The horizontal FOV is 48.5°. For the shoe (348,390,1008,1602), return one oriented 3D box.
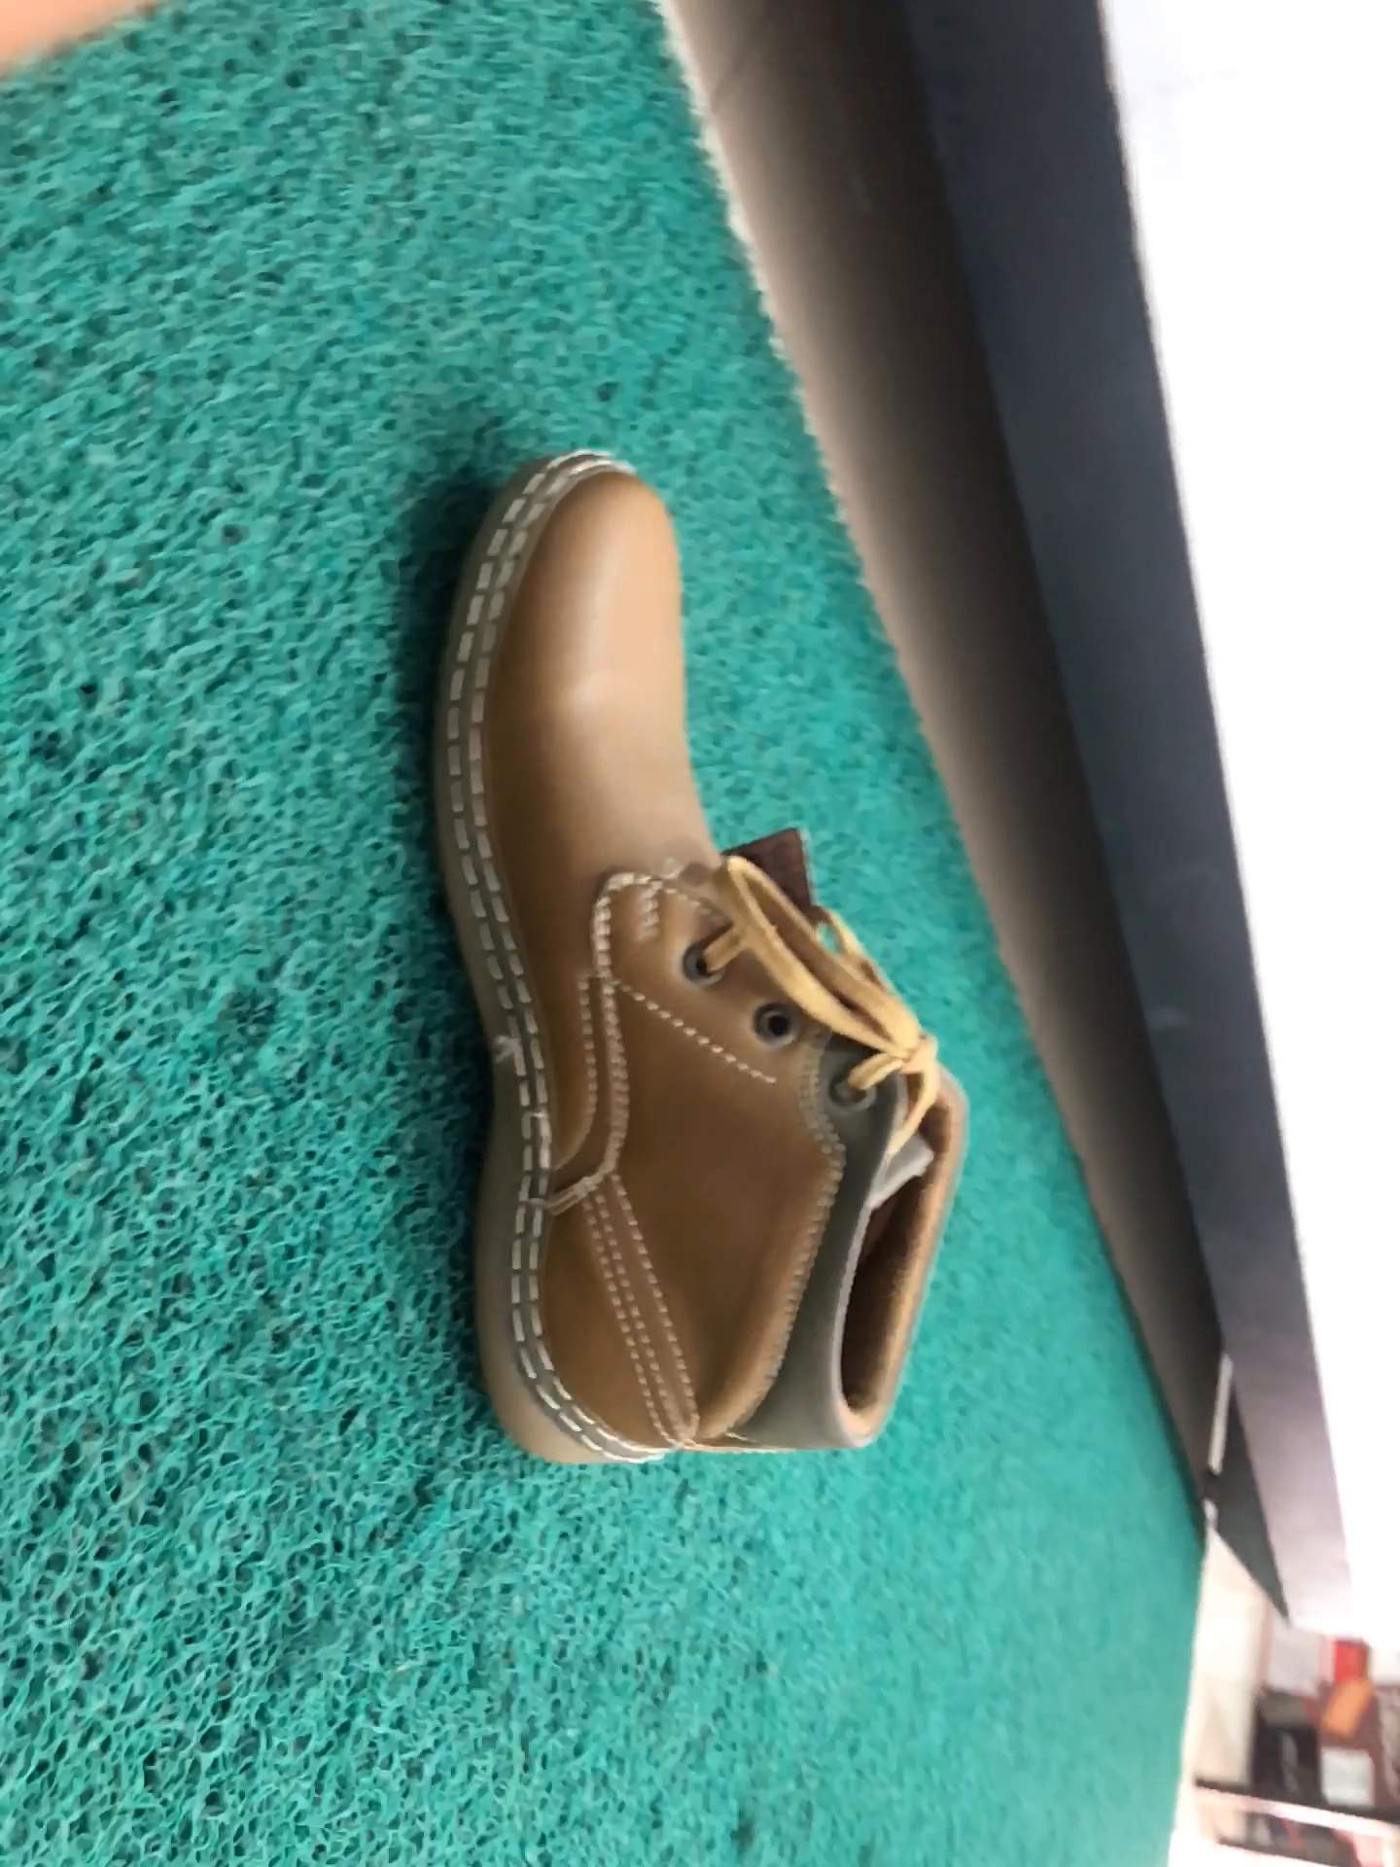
[{"bbox_3d":[0.002,0.015,0.437,0.101,0.129,0.290,-22,109,-61],"label":"shoe"}]
